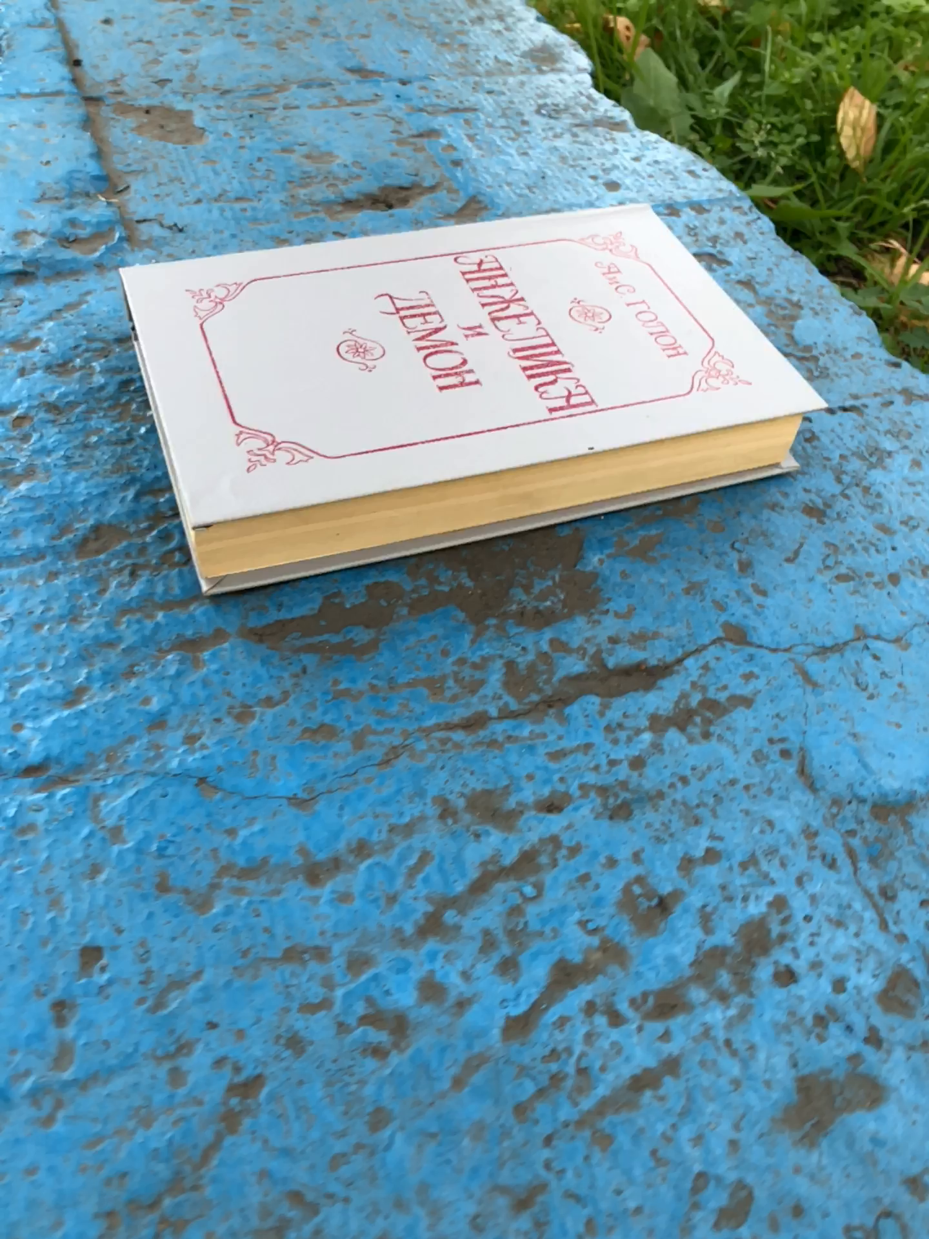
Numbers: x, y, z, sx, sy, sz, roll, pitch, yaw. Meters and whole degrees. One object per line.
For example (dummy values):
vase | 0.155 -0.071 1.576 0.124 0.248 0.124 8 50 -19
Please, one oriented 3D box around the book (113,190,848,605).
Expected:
book | -0.001 -0.089 0.357 0.211 0.032 0.141 -13 52 -16
